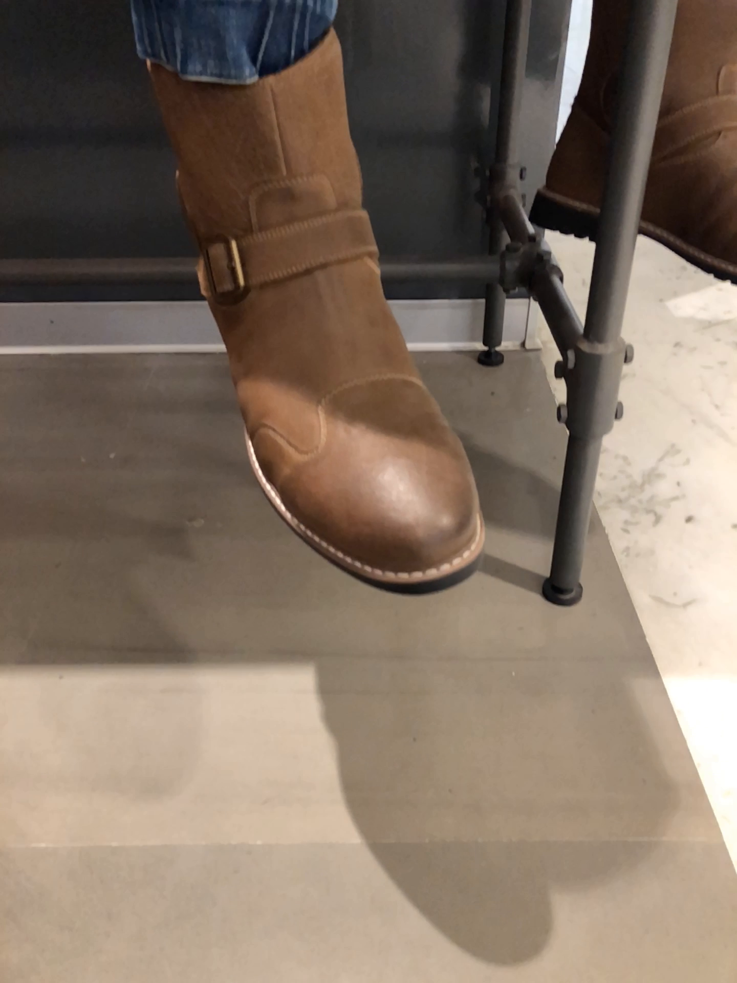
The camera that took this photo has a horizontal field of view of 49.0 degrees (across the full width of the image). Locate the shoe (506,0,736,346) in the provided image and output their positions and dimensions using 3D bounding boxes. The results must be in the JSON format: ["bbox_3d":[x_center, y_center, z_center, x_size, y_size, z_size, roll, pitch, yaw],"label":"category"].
[{"bbox_3d":[0.300,-0.278,0.626,0.324,0.206,0.114,29,34,26],"label":"shoe"}]

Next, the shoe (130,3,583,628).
[{"bbox_3d":[-0.023,-0.111,0.416,0.109,0.206,0.275,-16,40,-14],"label":"shoe"}]
